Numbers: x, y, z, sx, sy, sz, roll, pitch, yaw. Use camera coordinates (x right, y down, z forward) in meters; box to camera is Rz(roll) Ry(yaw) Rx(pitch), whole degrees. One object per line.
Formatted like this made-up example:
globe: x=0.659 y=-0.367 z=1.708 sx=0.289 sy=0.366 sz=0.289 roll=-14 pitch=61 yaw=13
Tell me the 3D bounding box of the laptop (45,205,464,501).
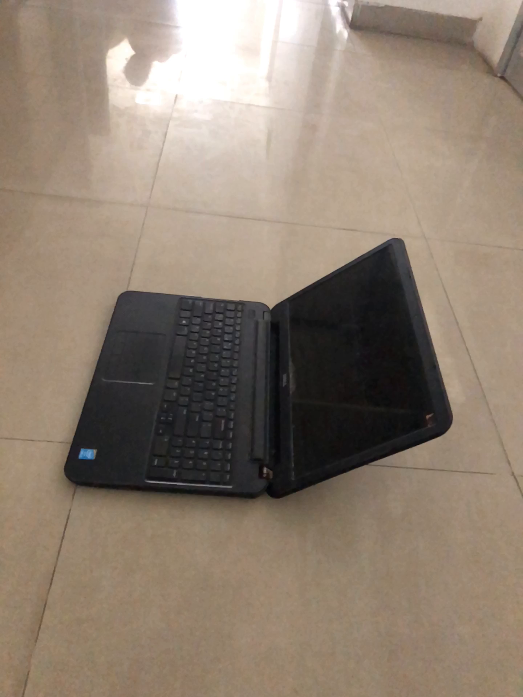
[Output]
laptop: x=-0.008 y=-0.009 z=0.771 sx=0.428 sy=0.163 sz=0.359 roll=4 pitch=44 yaw=-3
